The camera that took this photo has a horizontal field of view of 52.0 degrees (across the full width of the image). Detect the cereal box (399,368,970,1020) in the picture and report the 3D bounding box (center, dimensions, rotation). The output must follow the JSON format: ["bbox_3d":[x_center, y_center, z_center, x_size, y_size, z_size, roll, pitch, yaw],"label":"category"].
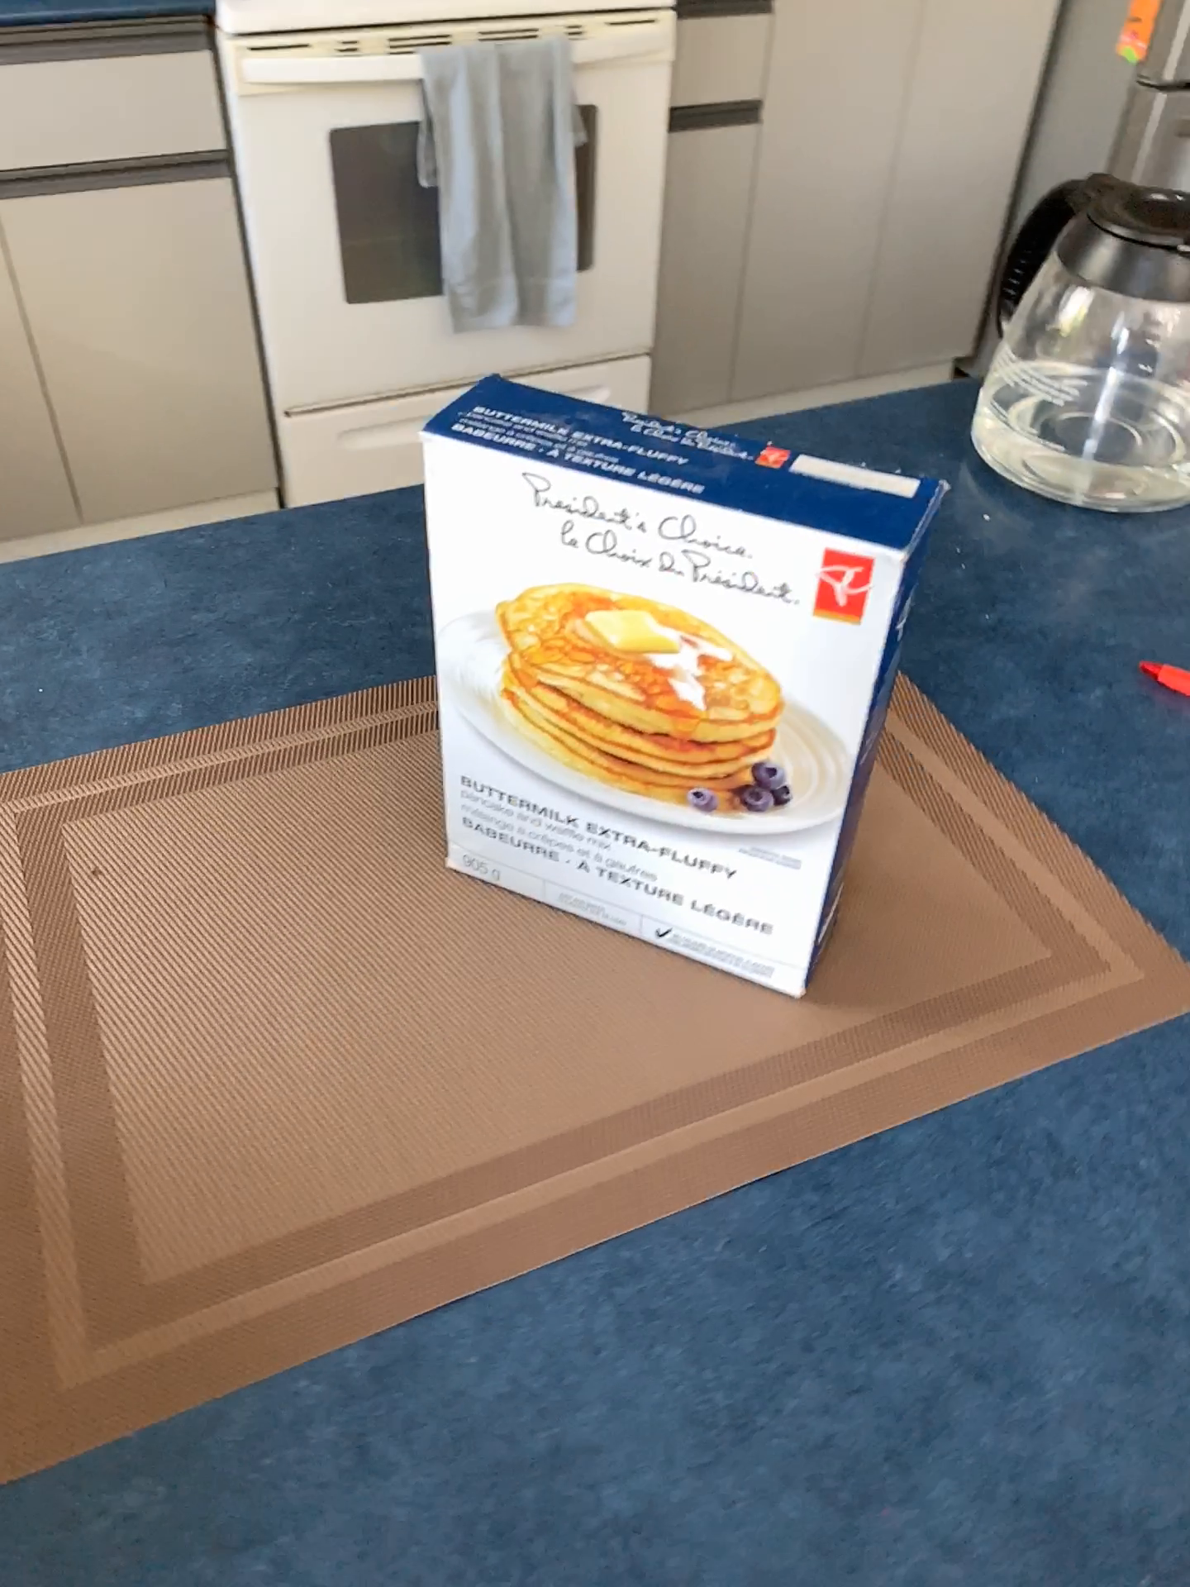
[{"bbox_3d":[0.023,-0.029,0.447,0.170,0.208,0.050,18,44,16],"label":"cereal box"}]
